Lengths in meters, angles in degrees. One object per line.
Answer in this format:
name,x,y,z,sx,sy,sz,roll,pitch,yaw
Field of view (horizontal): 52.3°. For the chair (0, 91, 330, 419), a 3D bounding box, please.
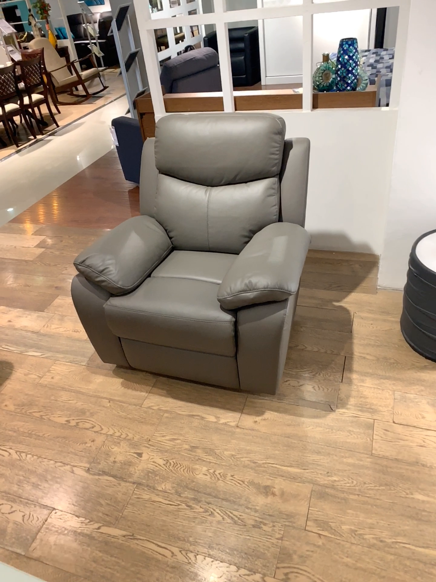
chair,-0.111,-0.227,1.918,1.001,0.936,0.943,7,38,20
